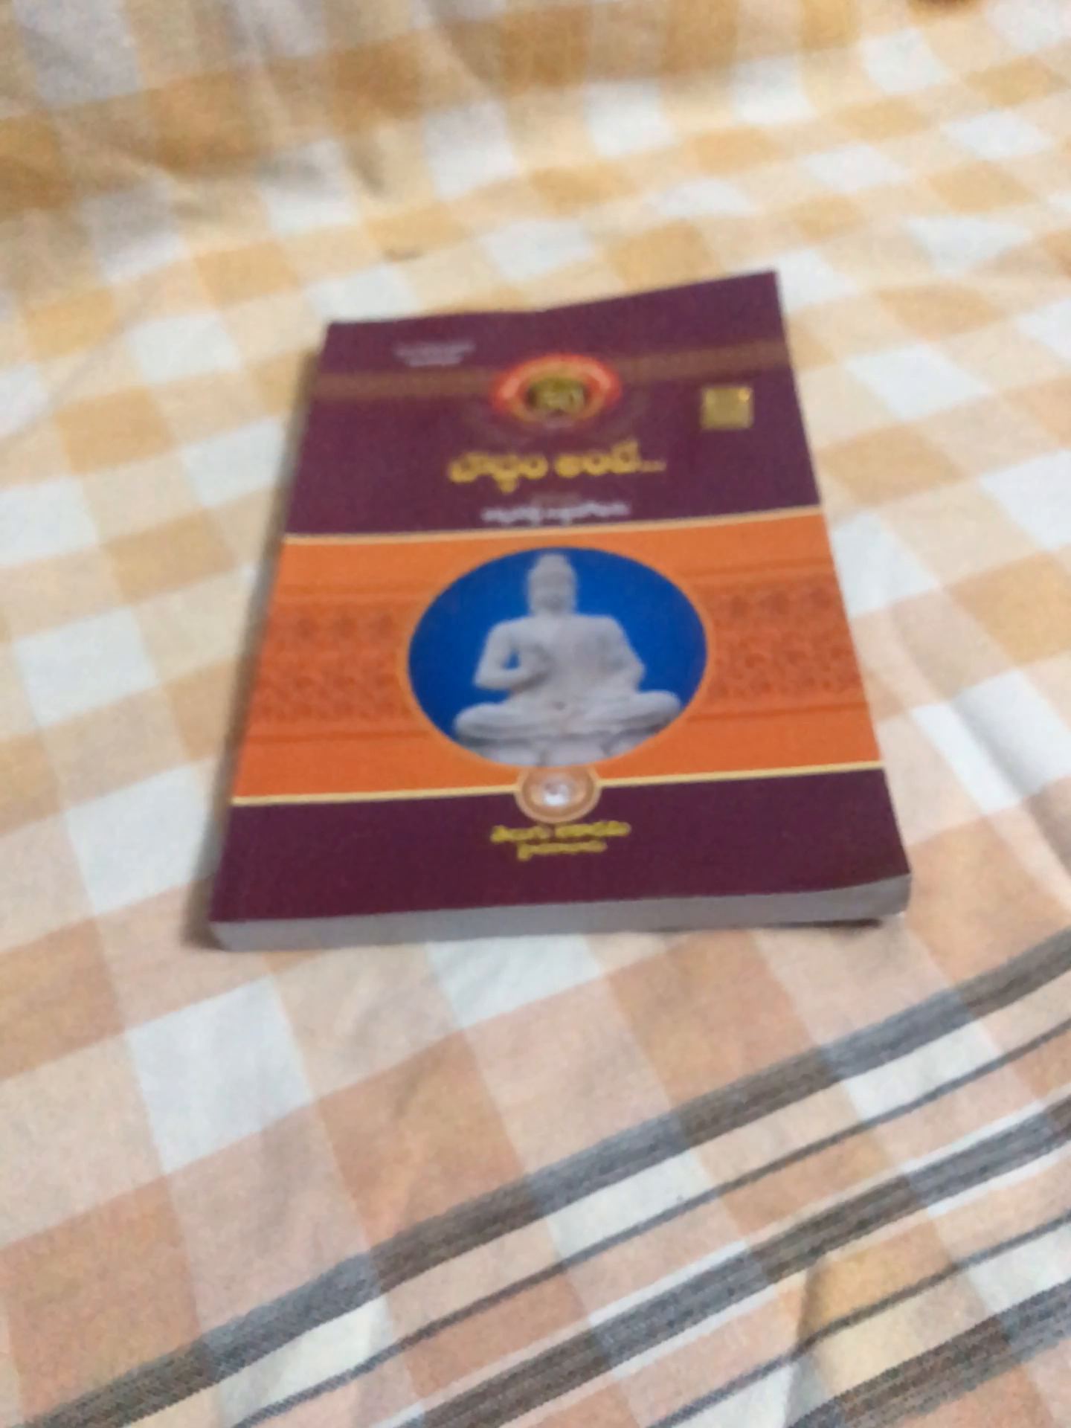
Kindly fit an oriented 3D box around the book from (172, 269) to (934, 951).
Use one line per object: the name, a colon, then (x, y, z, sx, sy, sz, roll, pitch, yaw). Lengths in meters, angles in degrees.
book: (0.004, -0.048, 0.338, 0.160, 0.020, 0.241, -1, 51, 1)
